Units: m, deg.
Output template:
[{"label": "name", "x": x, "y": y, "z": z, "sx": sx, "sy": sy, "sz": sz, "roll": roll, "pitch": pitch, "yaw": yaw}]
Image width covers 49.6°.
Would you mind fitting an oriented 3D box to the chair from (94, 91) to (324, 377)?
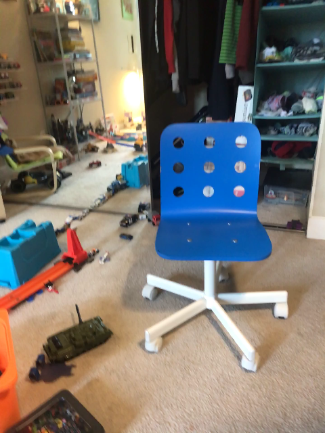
[{"label": "chair", "x": 0.138, "y": 0.040, "z": 1.015, "sx": 0.520, "sy": 0.706, "sz": 0.362, "roll": -3, "pitch": 23, "yaw": 0}]
